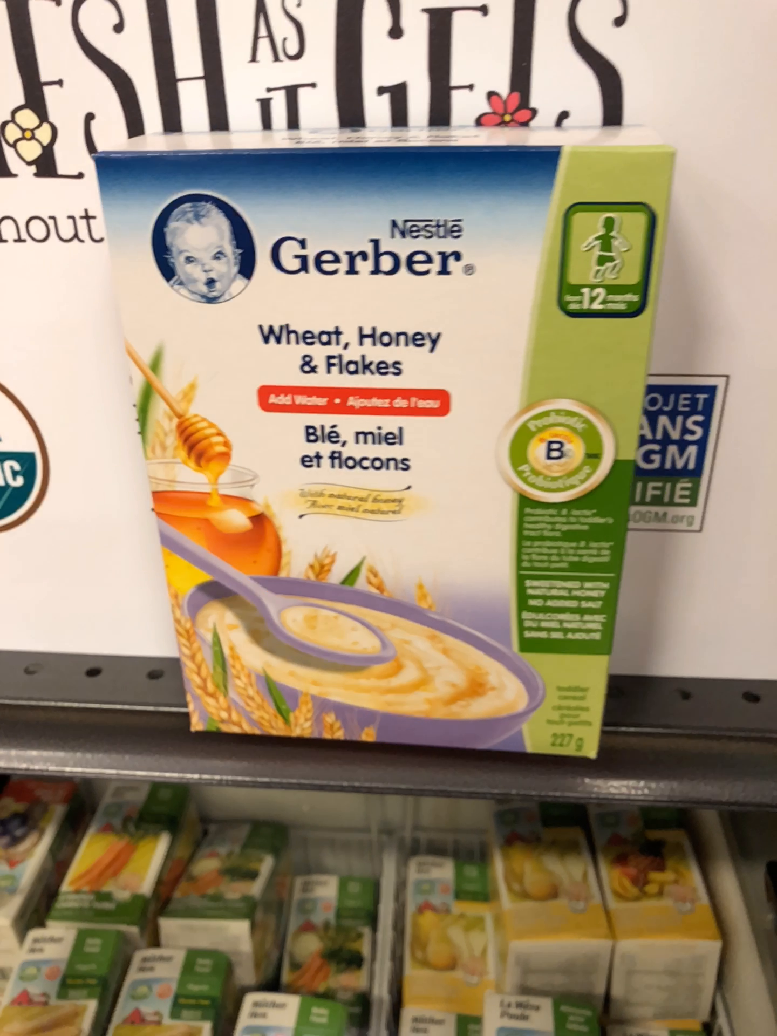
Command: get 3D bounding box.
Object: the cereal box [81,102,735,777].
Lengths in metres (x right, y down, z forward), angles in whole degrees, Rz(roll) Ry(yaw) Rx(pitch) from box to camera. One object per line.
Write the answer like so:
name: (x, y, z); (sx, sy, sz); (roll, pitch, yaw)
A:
cereal box: (0.007, -0.015, 0.271); (0.150, 0.199, 0.050); (2, 30, 7)
